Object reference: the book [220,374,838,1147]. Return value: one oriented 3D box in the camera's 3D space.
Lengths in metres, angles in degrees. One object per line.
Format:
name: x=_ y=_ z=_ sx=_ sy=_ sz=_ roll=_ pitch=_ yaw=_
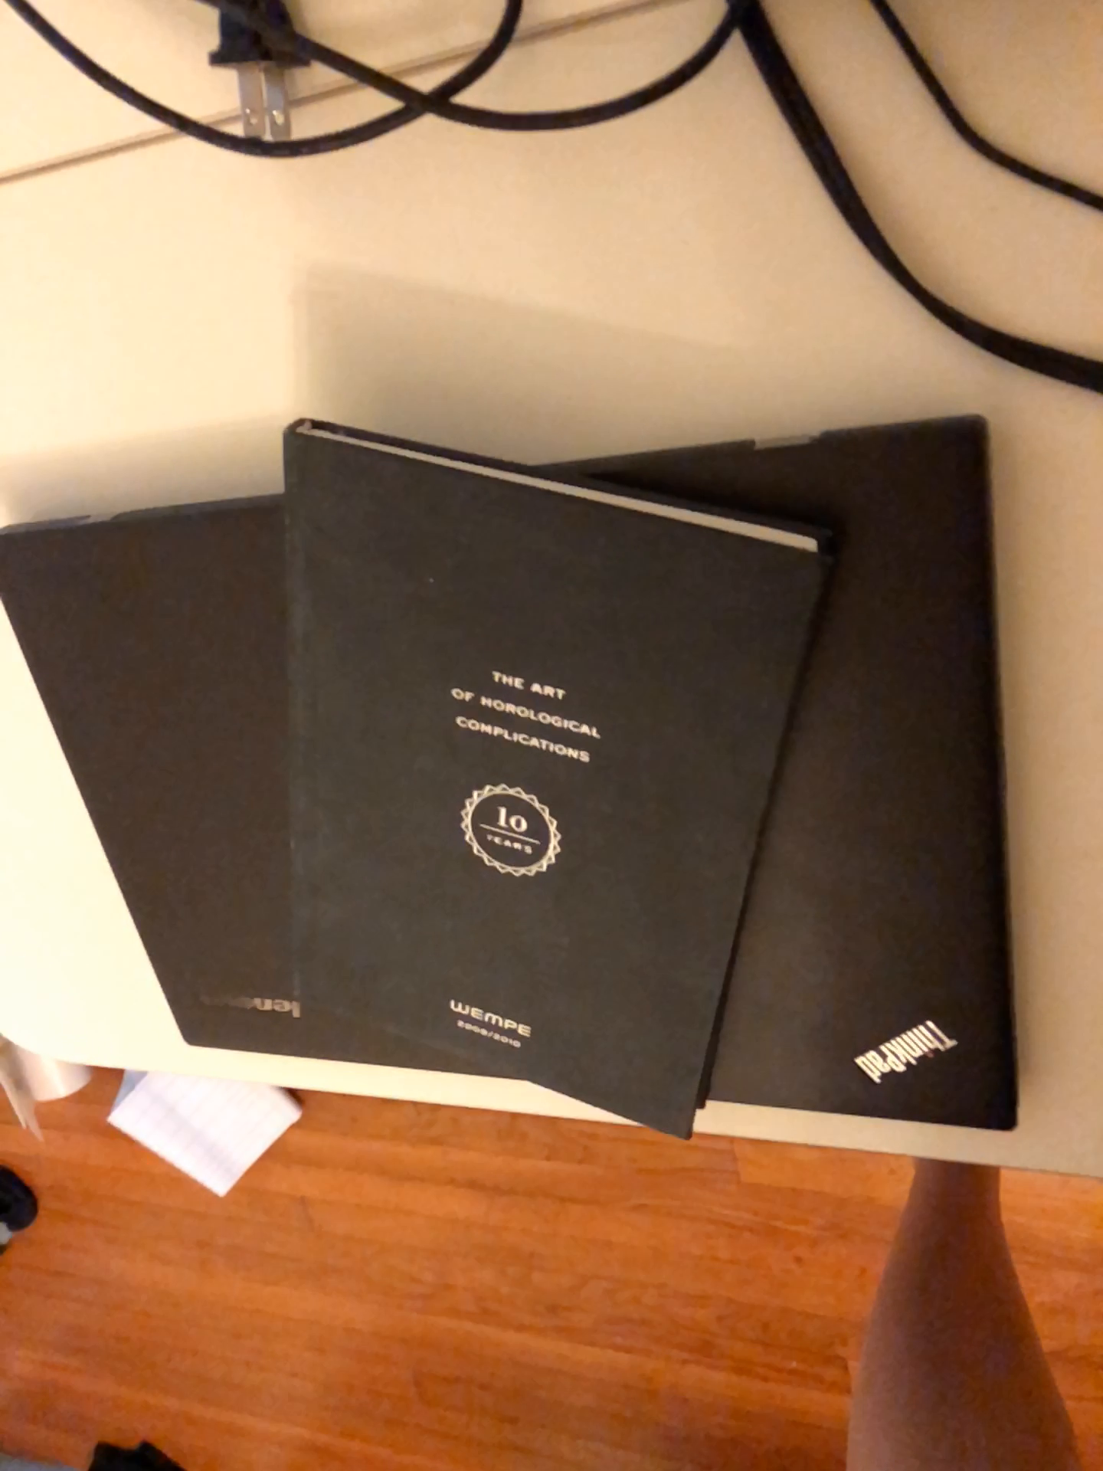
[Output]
book: x=-0.020 y=0.015 z=0.386 sx=0.170 sy=0.030 sz=0.220 roll=16 pitch=121 yaw=15
